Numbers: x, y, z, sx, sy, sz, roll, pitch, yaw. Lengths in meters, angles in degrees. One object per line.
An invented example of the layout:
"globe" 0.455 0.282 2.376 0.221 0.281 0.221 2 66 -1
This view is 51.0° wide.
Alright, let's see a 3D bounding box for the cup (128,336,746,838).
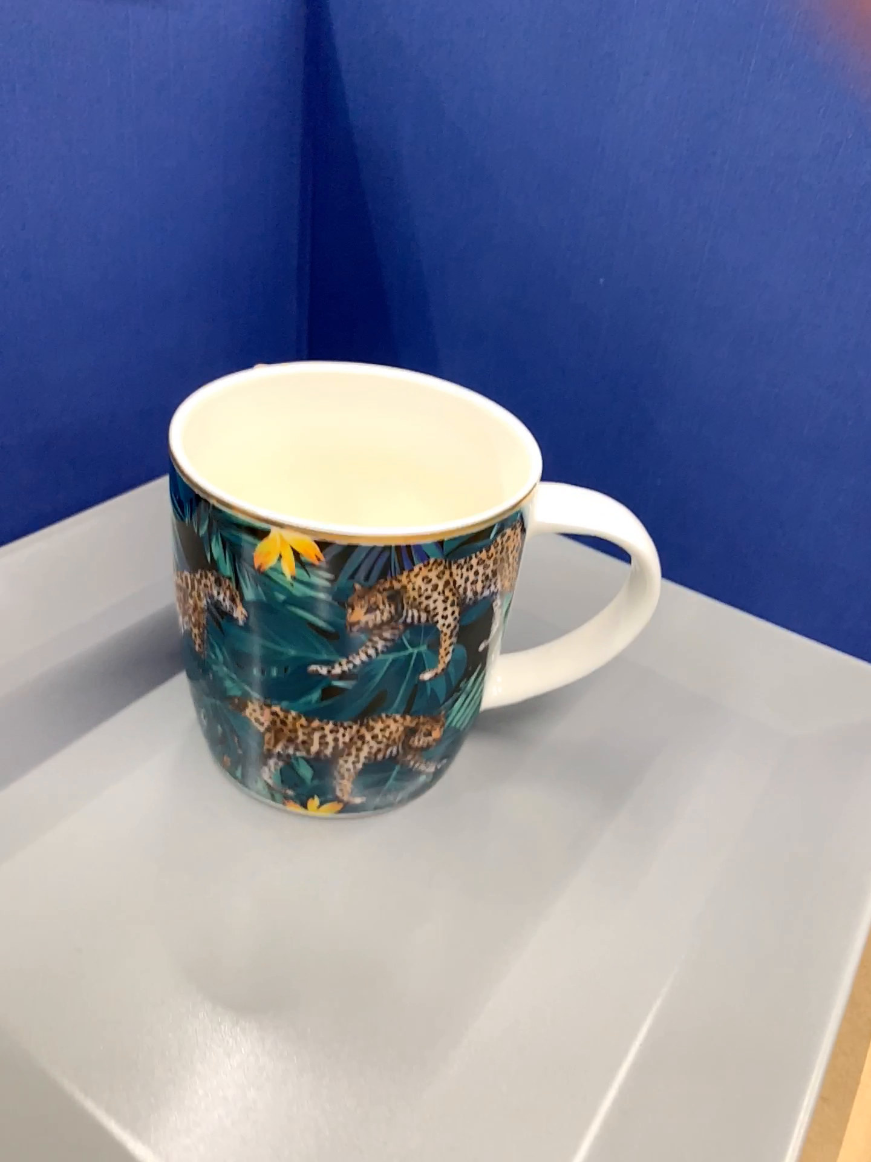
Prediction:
"cup" -0.008 -0.003 0.243 0.125 0.091 0.093 0 32 -12
